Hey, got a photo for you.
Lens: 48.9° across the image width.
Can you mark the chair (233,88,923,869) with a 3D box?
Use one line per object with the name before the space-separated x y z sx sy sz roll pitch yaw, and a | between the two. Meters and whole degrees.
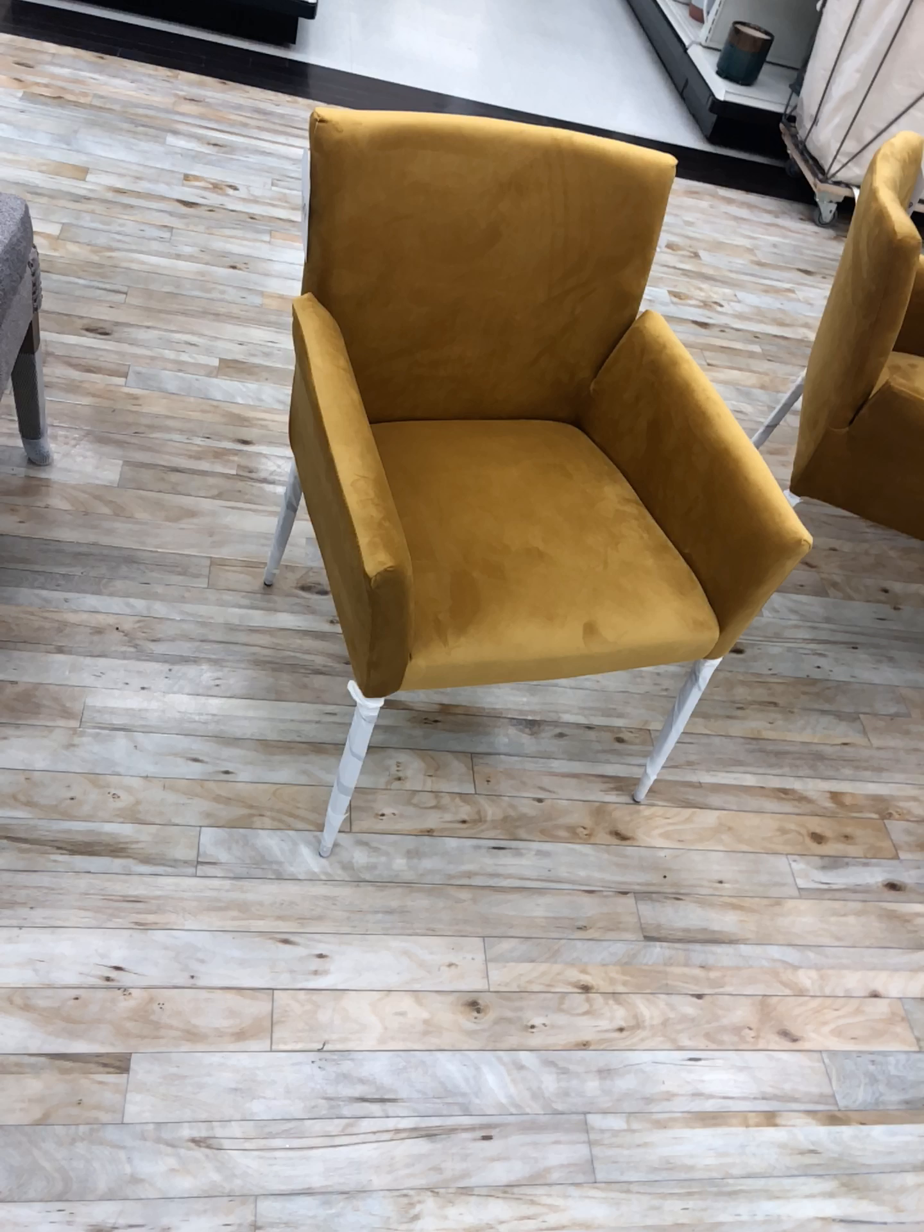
chair | 0.055 -0.149 1.366 0.561 0.797 0.541 -5 49 -23
